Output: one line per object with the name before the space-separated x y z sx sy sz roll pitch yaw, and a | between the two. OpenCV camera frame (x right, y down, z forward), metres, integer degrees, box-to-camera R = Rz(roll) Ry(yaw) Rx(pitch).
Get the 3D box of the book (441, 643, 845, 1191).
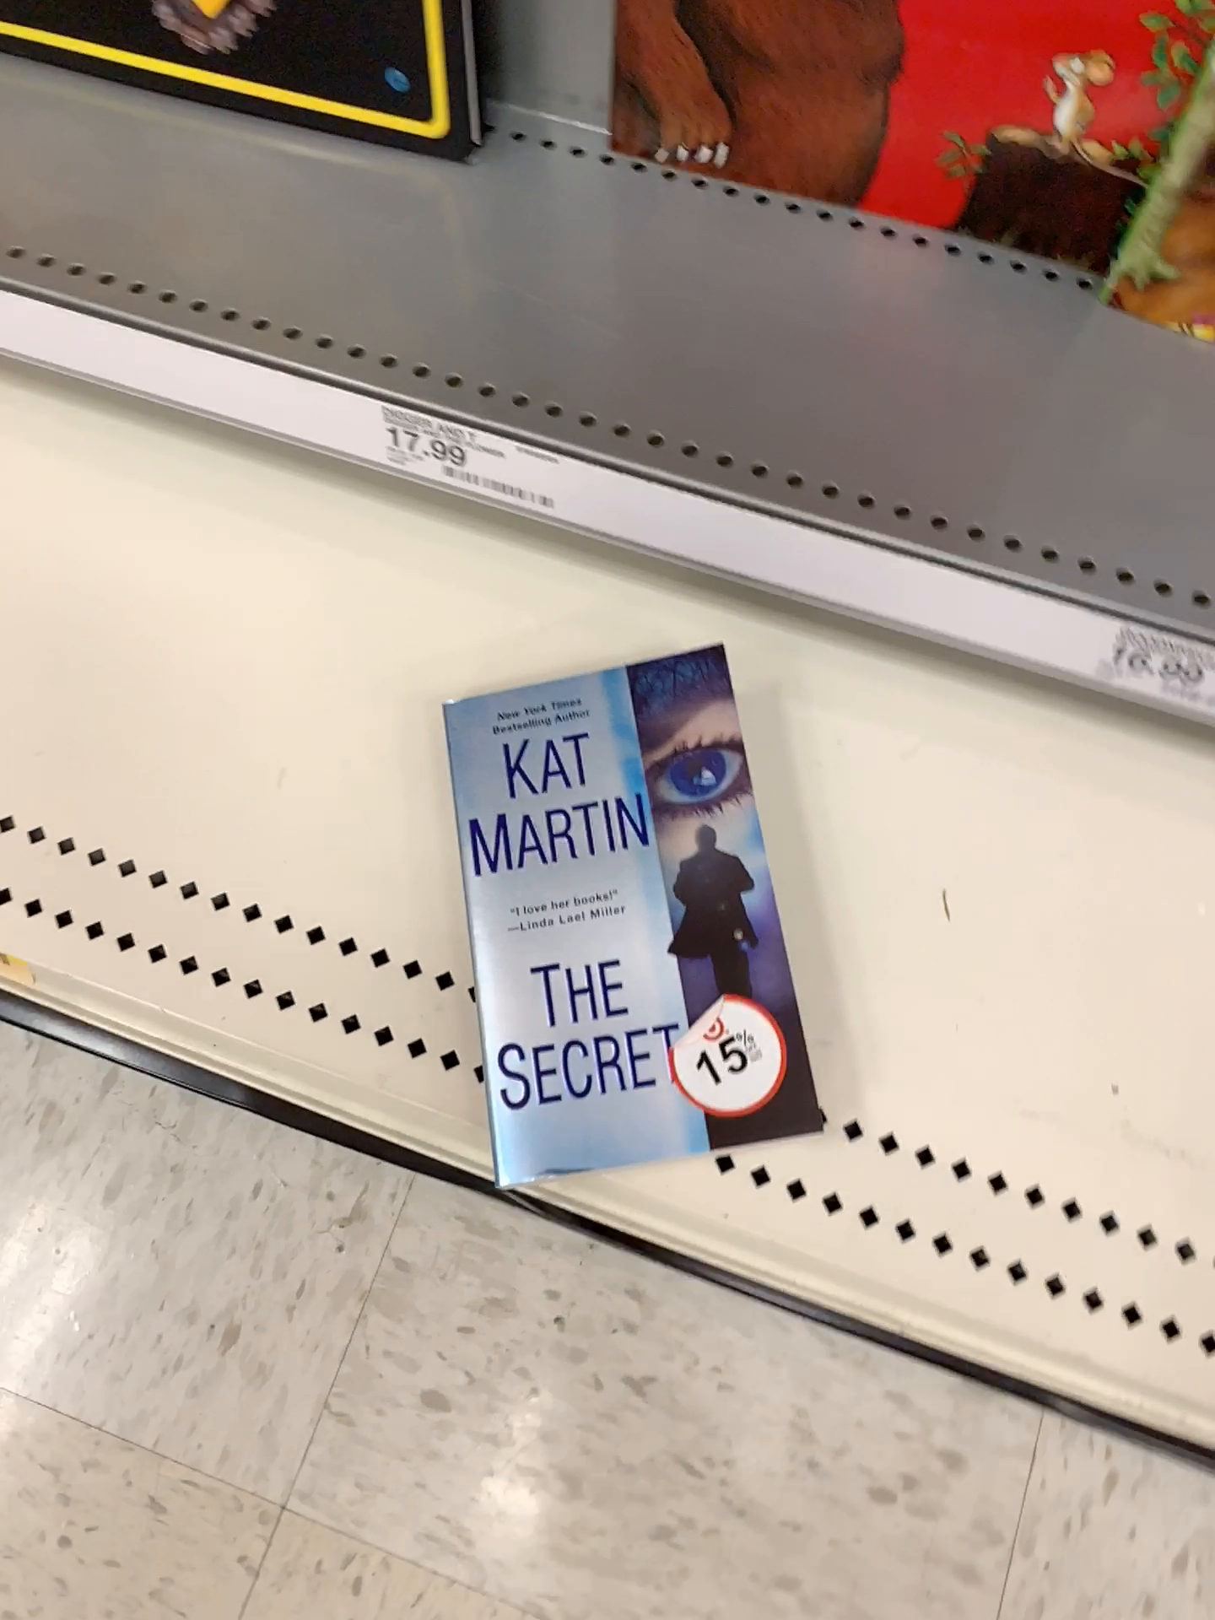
book | 0.009 0.035 0.421 0.105 0.040 0.164 -10 72 2
